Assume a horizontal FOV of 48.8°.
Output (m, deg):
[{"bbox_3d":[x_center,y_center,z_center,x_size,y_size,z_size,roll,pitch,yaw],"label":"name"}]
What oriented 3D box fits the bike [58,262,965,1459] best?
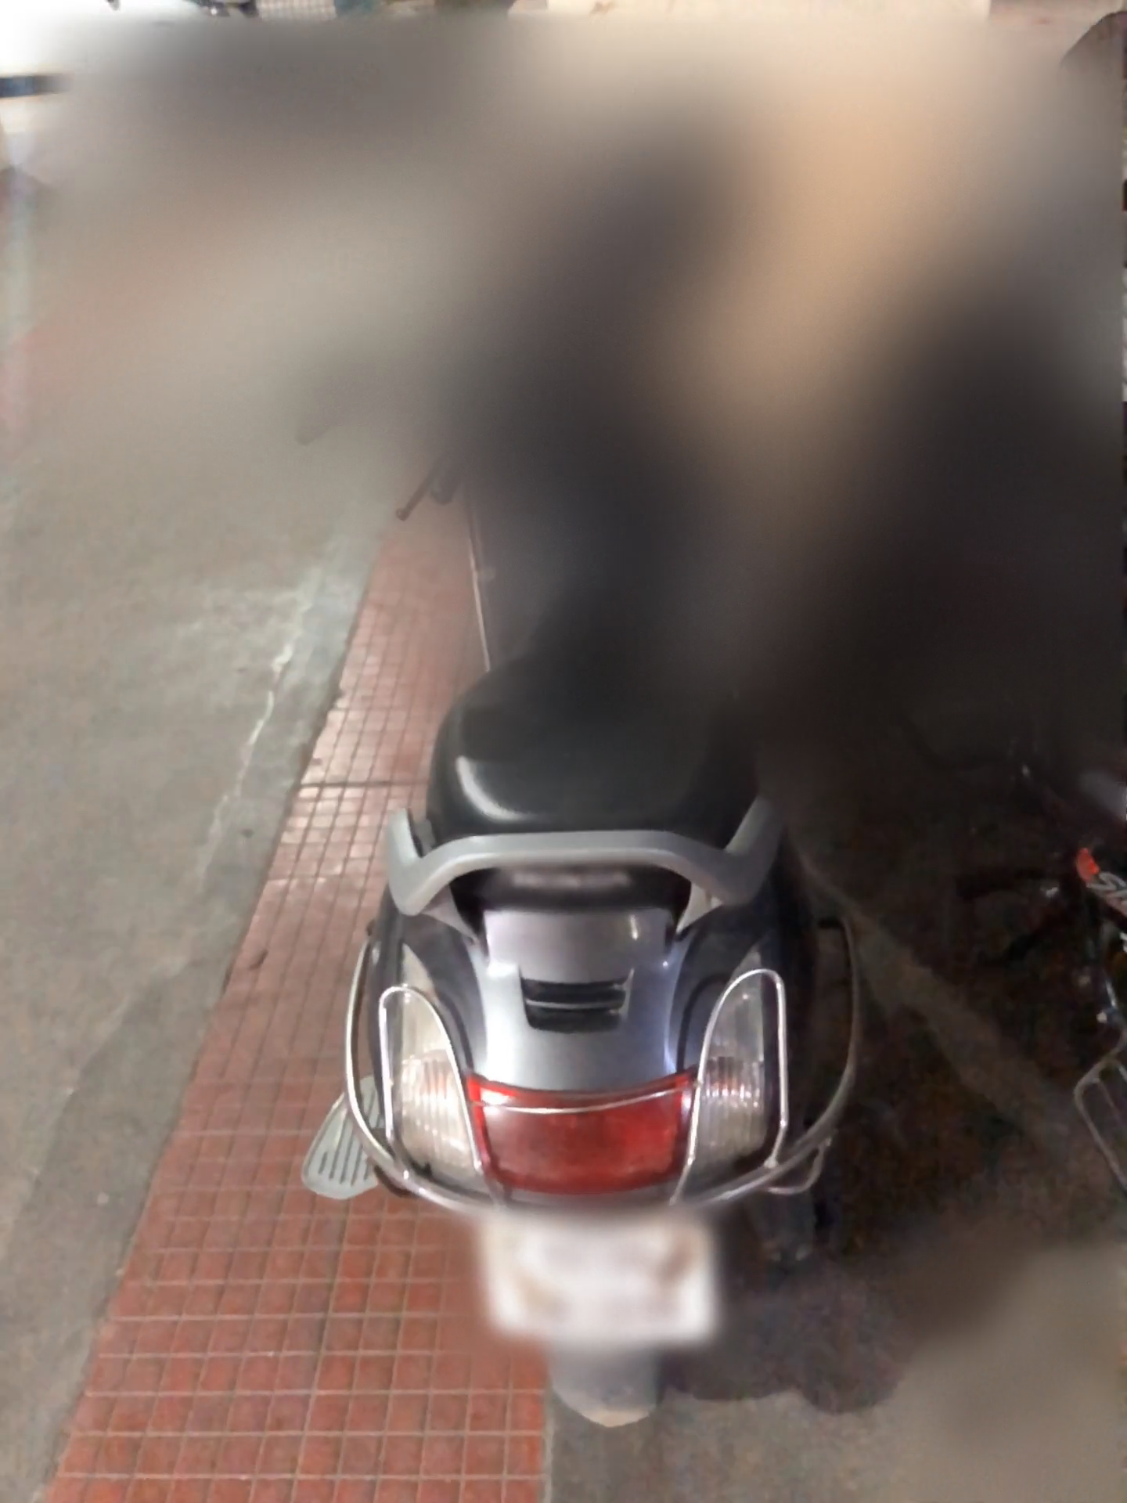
[{"bbox_3d":[-0.063,-0.013,1.733,0.594,0.988,1.502,-6,32,-1],"label":"bike"}]
